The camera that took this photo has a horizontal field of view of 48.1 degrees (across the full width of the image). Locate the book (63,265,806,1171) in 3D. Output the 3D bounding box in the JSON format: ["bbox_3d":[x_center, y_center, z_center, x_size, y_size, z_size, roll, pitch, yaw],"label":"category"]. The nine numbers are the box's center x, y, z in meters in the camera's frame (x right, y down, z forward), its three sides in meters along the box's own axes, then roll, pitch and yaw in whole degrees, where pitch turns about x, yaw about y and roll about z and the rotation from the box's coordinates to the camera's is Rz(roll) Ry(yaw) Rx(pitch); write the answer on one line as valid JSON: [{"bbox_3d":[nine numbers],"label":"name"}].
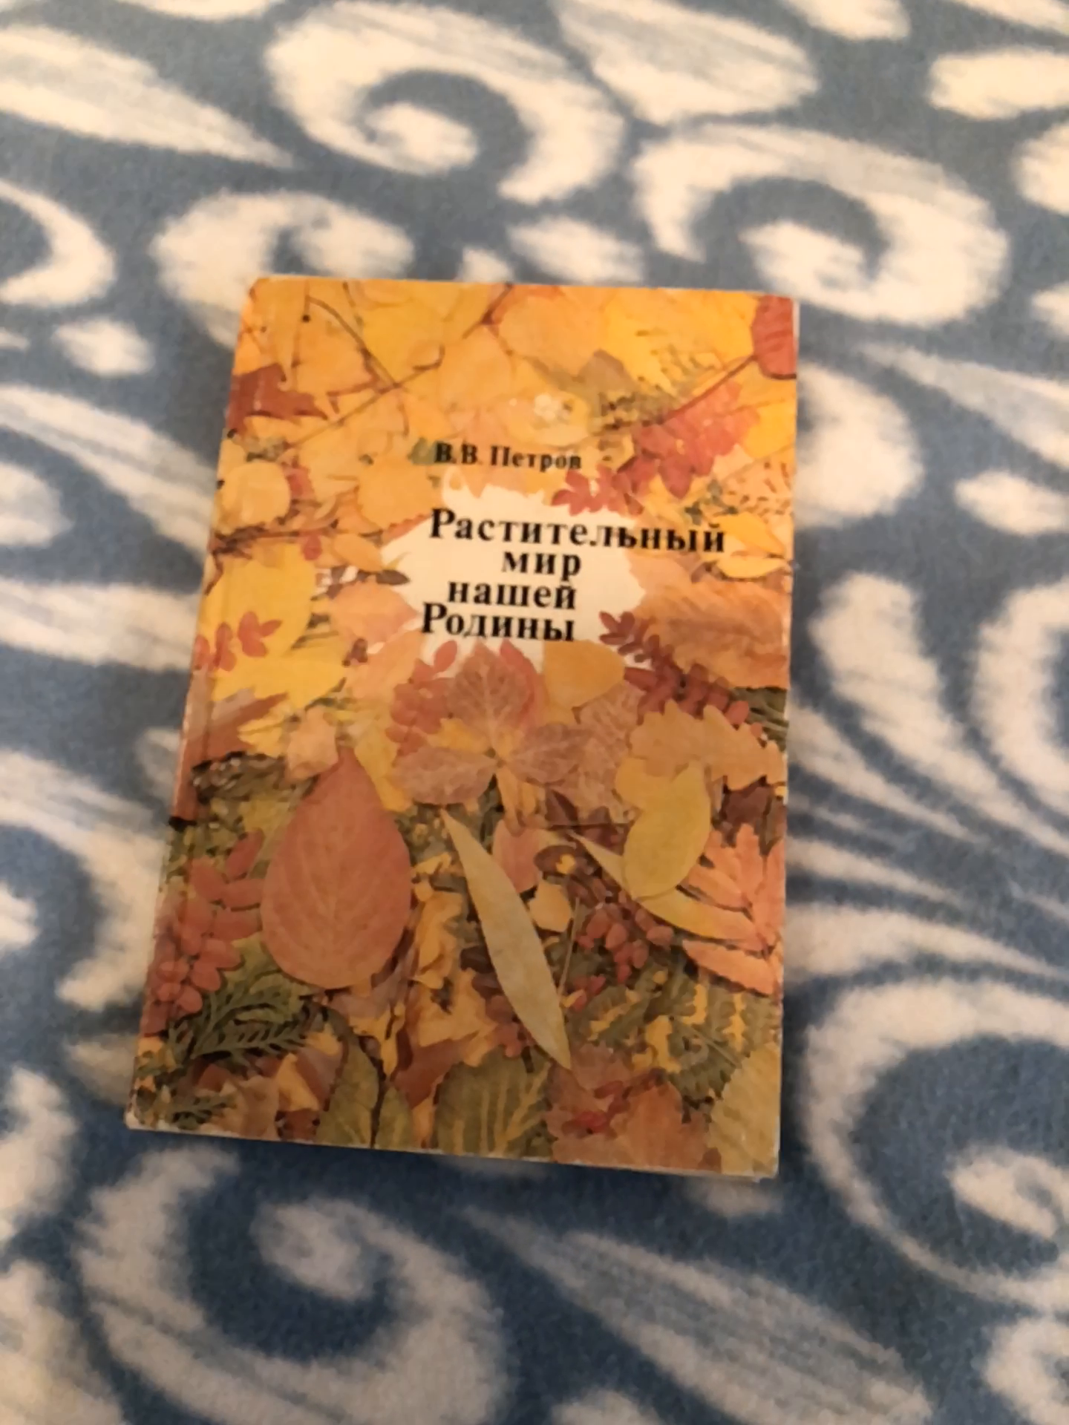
[{"bbox_3d":[-0.017,-0.006,0.290,0.157,0.020,0.208,4,77,2],"label":"book"}]
